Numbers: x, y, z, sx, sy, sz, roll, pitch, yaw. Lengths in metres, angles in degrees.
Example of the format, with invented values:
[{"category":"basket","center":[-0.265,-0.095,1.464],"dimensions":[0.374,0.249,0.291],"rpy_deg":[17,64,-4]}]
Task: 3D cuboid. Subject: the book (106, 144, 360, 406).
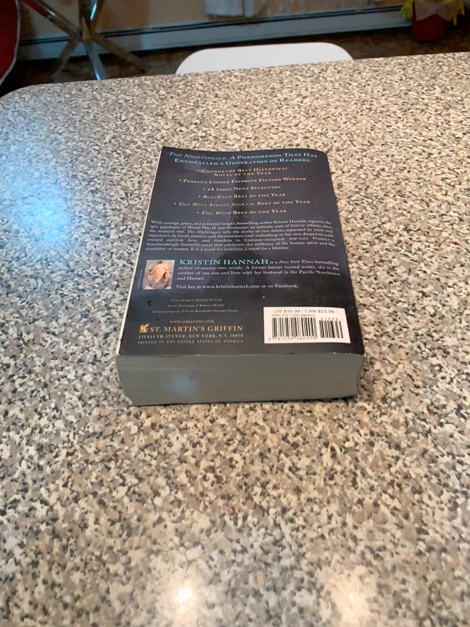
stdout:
[{"category":"book","center":[0.003,-0.039,0.352],"dimensions":[0.139,0.056,0.208],"rpy_deg":[-1,50,5]}]
